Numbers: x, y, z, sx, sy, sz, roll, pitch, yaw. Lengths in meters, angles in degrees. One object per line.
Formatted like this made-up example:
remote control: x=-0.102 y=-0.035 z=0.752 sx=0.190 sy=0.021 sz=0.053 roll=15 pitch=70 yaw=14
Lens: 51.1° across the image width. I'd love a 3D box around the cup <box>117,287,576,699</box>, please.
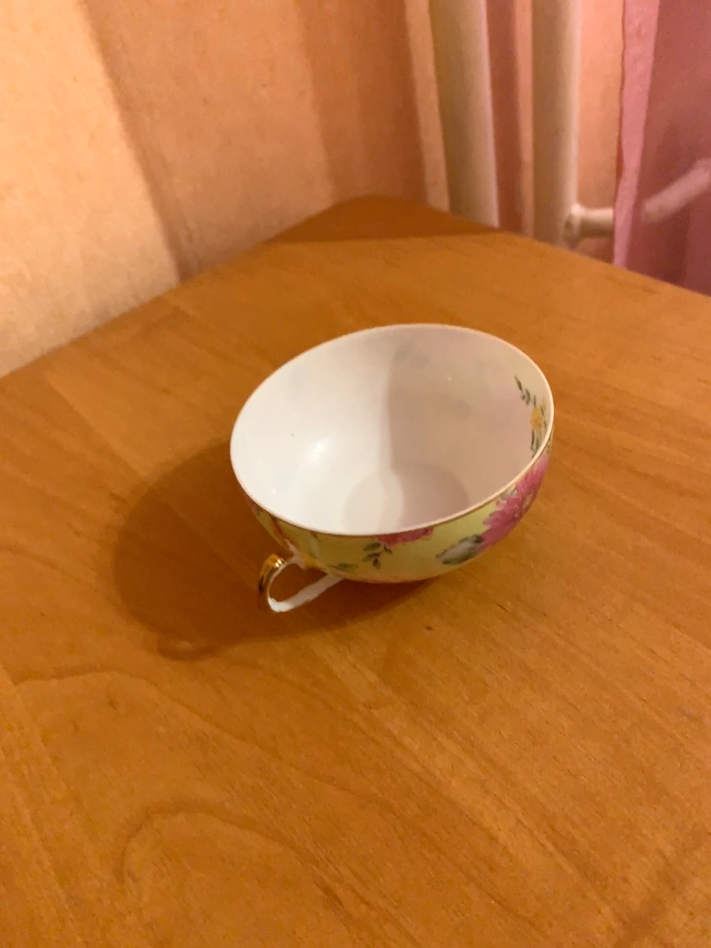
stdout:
cup: x=0.000 y=-0.003 z=0.233 sx=0.113 sy=0.045 sz=0.079 roll=-35 pitch=46 yaw=-22
